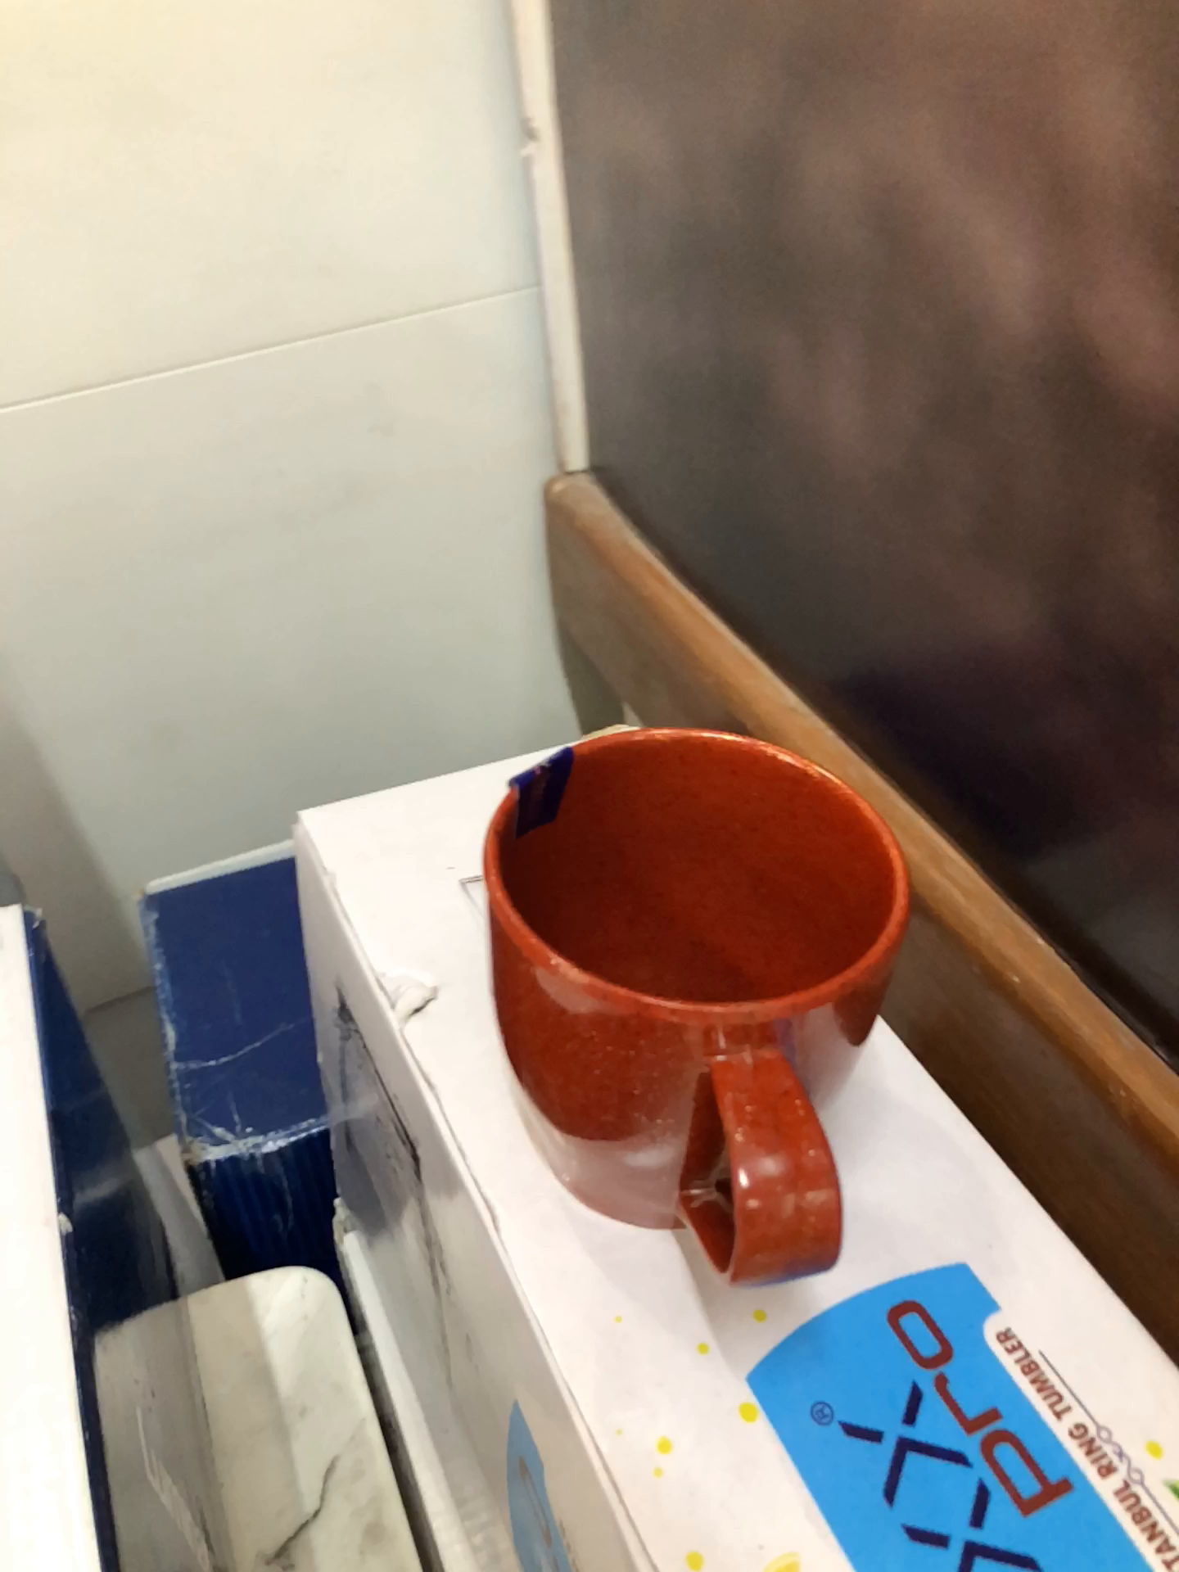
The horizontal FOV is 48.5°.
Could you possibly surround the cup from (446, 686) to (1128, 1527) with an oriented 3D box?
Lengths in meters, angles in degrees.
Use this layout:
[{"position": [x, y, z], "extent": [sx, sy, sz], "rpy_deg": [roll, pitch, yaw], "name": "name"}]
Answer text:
[{"position": [0.017, 0.042, 0.206], "extent": [0.070, 0.070, 0.101], "rpy_deg": [-4, 36, -10], "name": "cup"}]
